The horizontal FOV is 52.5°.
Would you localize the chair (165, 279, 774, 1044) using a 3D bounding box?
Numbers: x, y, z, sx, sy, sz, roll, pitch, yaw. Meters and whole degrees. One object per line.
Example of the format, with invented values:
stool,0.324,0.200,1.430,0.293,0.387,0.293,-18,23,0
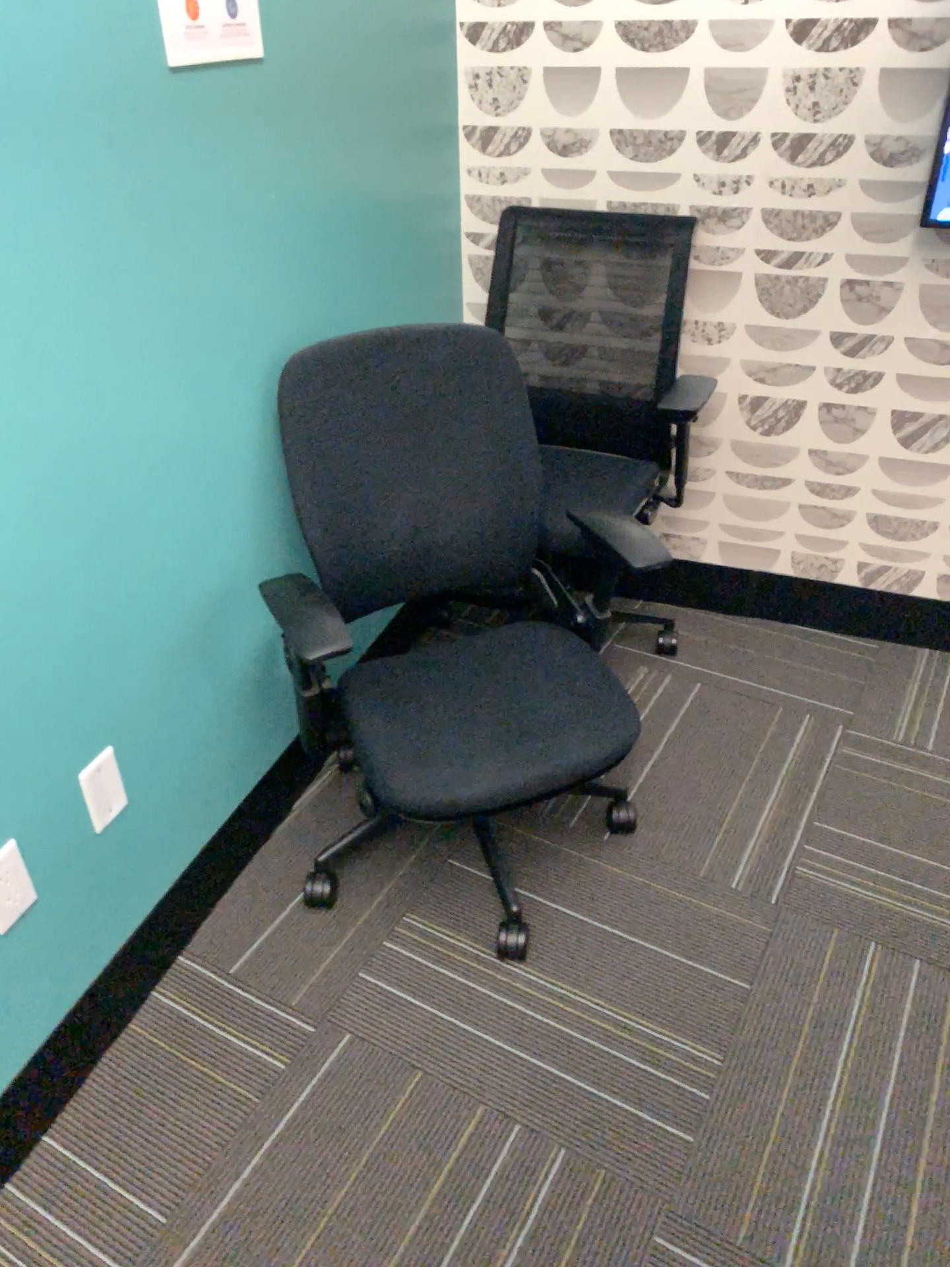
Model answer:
chair,-0.061,-0.010,1.687,0.660,0.944,0.775,-14,35,-18
